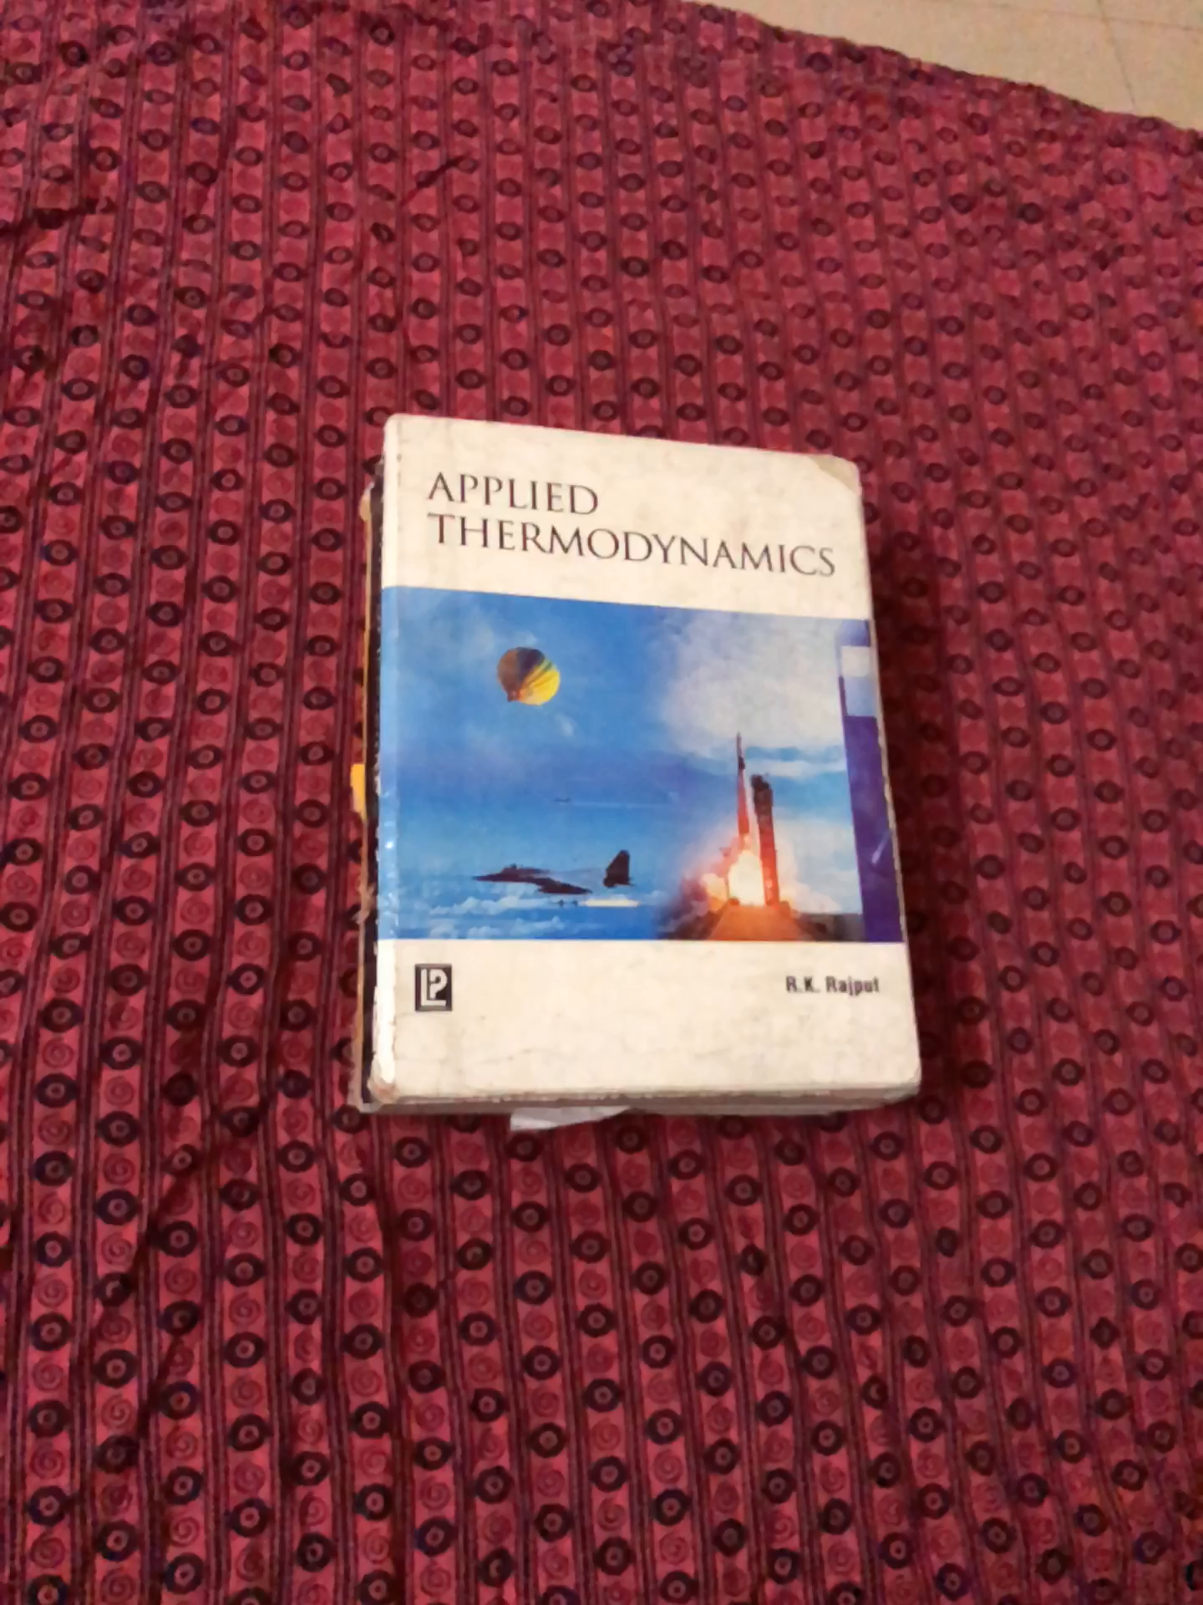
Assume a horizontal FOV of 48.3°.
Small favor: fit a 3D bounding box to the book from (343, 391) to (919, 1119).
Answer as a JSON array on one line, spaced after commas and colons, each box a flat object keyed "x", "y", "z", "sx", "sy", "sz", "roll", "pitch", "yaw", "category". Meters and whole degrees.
[{"x": 0.004, "y": -0.015, "z": 0.473, "sx": 0.179, "sy": 0.060, "sz": 0.240, "roll": 3, "pitch": 71, "yaw": -13, "category": "book"}]
